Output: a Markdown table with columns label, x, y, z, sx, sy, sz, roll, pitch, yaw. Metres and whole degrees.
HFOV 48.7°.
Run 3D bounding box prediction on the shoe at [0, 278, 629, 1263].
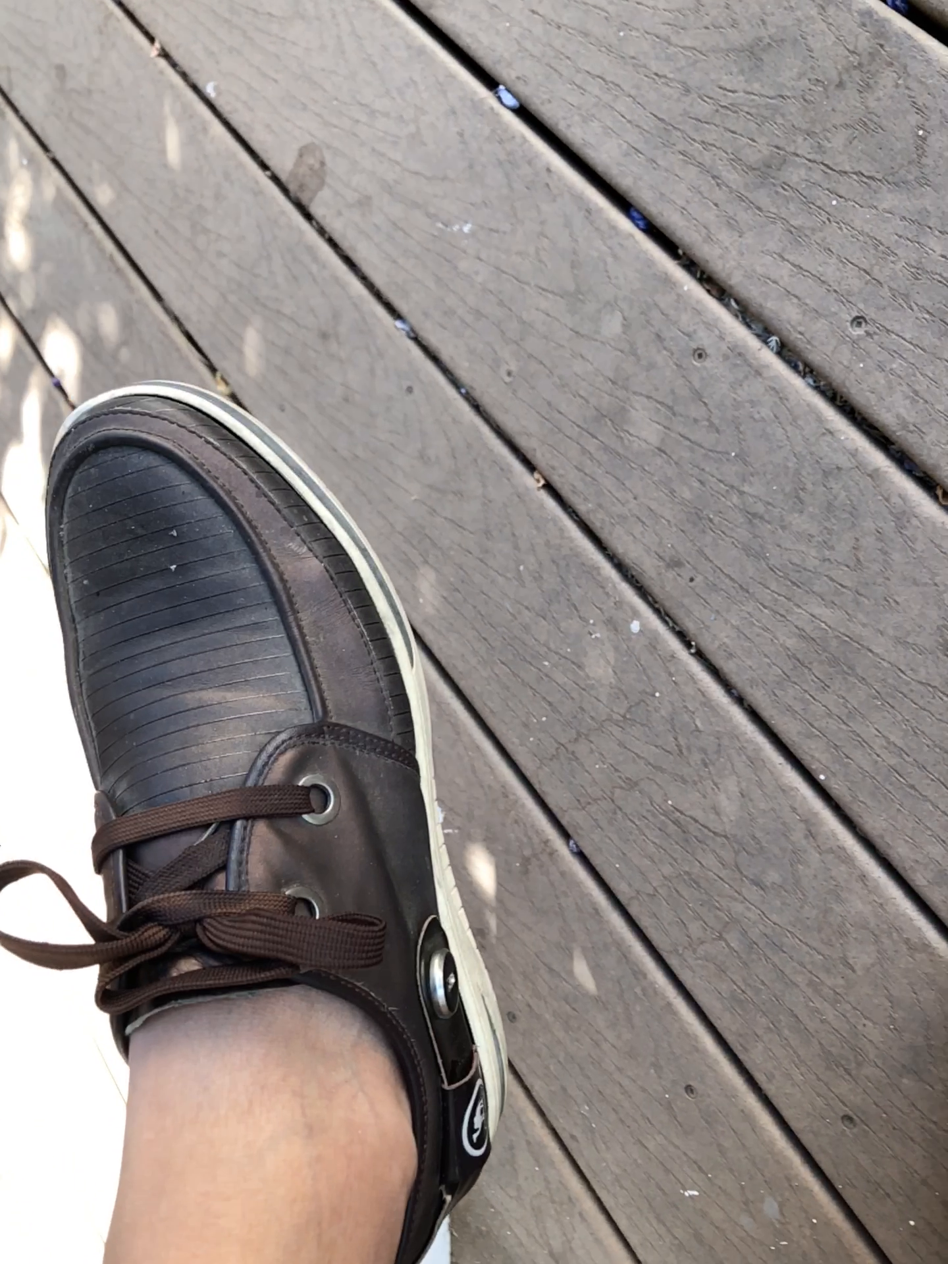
| label | x | y | z | sx | sy | sz | roll | pitch | yaw |
| --- | --- | --- | --- | --- | --- | --- | --- | --- | --- |
| shoe | -0.058 | 0.062 | 0.331 | 0.119 | 0.104 | 0.295 | -16 | 95 | 18 |
